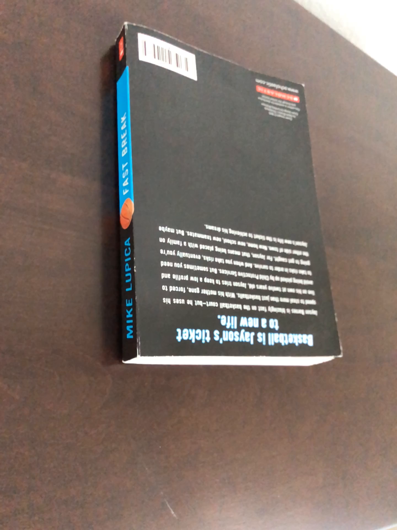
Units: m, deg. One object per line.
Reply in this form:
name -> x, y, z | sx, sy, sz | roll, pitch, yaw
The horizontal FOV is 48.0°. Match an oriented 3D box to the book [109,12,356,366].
book -> 0.018, -0.041, 0.278 | 0.141, 0.036, 0.198 | 8, 67, -32
